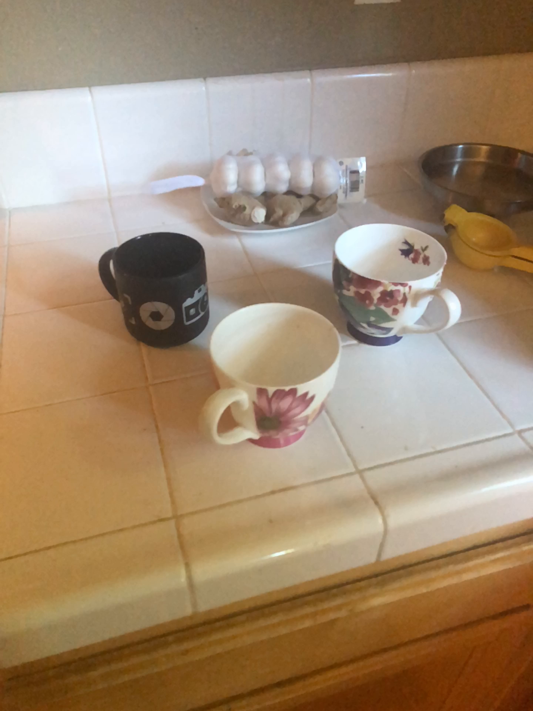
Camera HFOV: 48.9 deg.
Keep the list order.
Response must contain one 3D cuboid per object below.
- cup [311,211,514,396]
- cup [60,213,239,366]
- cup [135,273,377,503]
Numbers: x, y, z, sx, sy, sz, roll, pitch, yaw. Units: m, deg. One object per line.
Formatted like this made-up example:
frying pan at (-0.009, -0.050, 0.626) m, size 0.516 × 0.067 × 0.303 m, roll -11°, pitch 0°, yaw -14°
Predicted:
cup at (0.137, -0.058, 0.584) m, size 0.111 × 0.089 × 0.151 m, roll -24°, pitch 47°, yaw -26°
cup at (-0.118, -0.074, 0.610) m, size 0.140 × 0.069 × 0.111 m, roll 29°, pitch 49°, yaw 28°
cup at (-0.006, 0.018, 0.475) m, size 0.151 × 0.079 × 0.110 m, roll -32°, pitch 51°, yaw -32°
